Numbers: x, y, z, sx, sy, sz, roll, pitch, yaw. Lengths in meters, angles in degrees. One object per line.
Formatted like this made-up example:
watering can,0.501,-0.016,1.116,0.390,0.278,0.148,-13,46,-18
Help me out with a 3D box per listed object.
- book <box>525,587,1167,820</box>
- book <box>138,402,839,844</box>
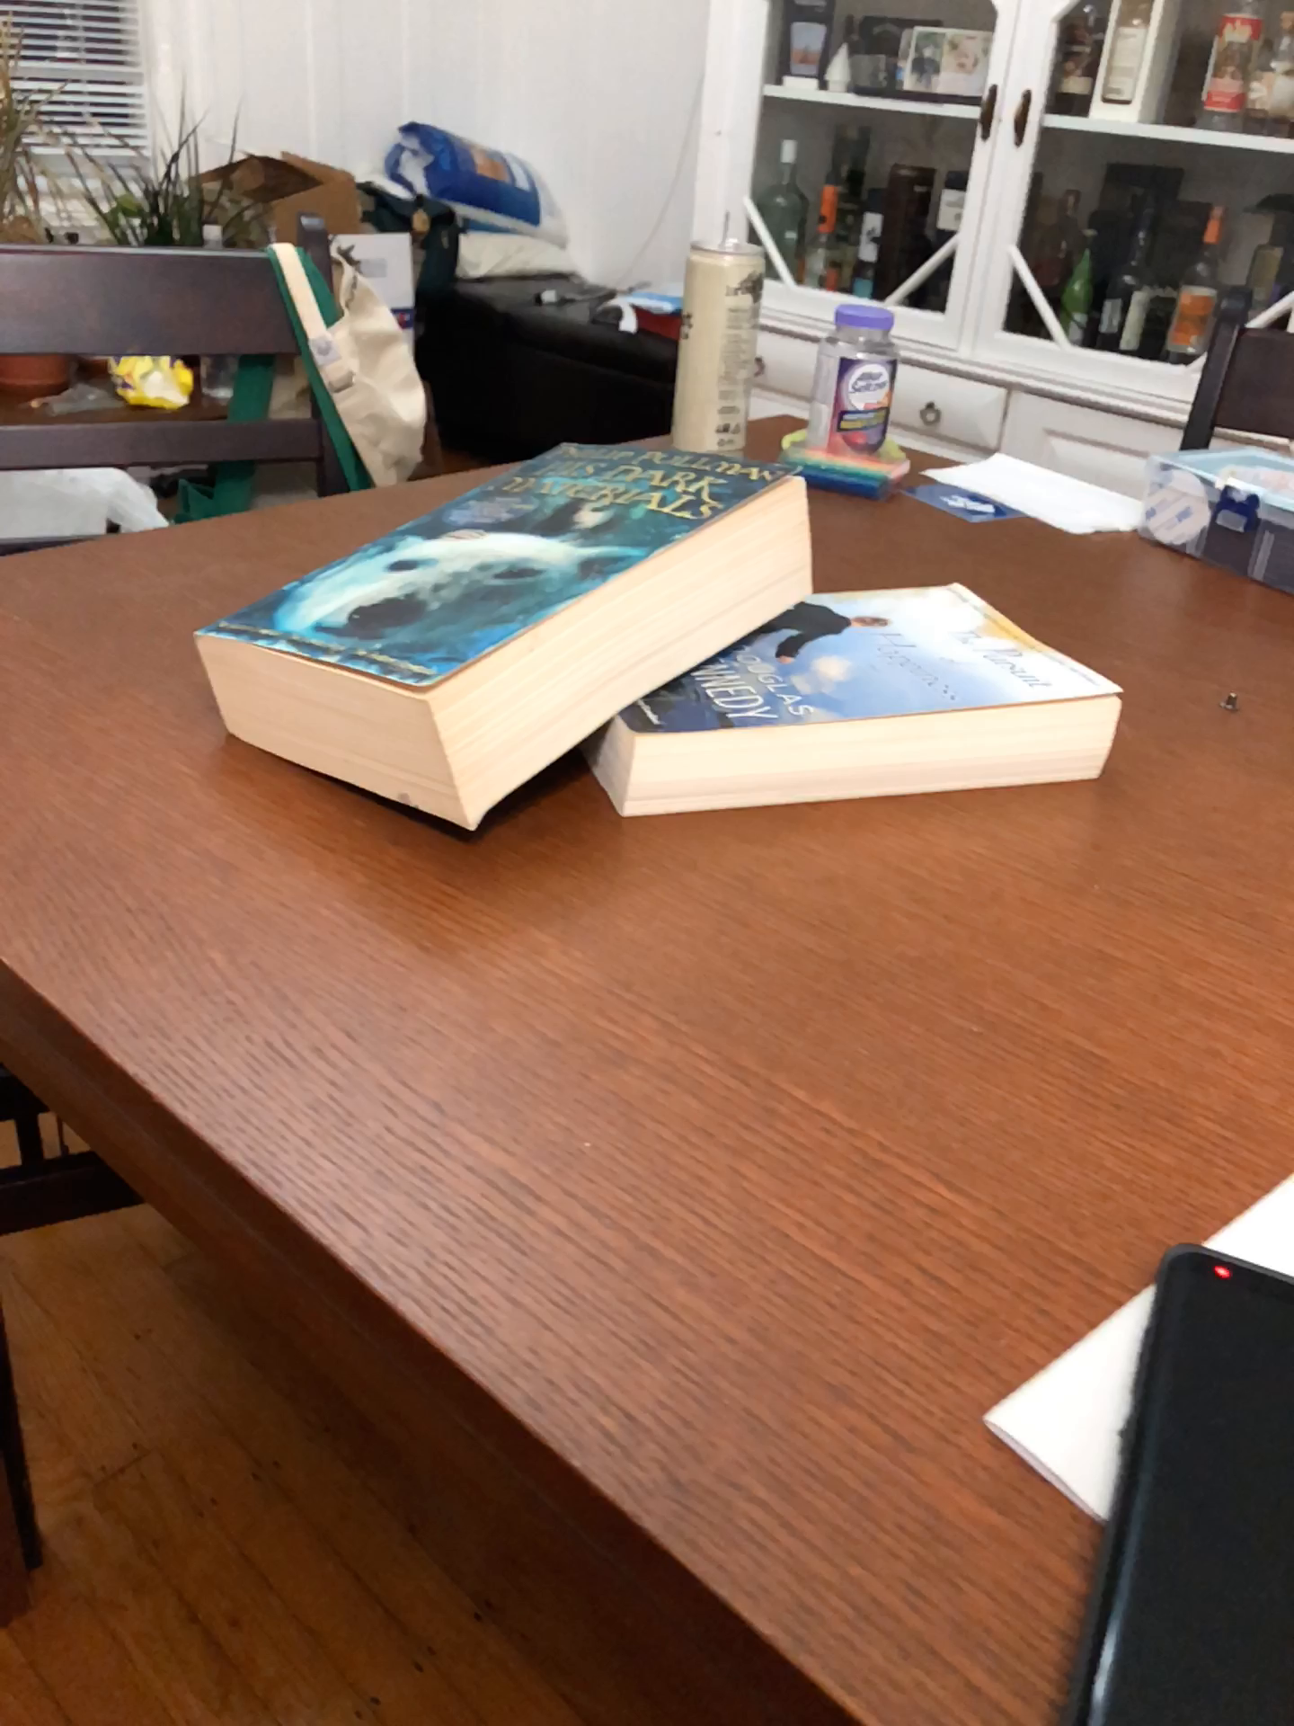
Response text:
book,0.078,-0.080,0.648,0.240,0.040,0.171,-6,24,-13
book,-0.058,-0.118,0.605,0.170,0.060,0.241,20,45,35
